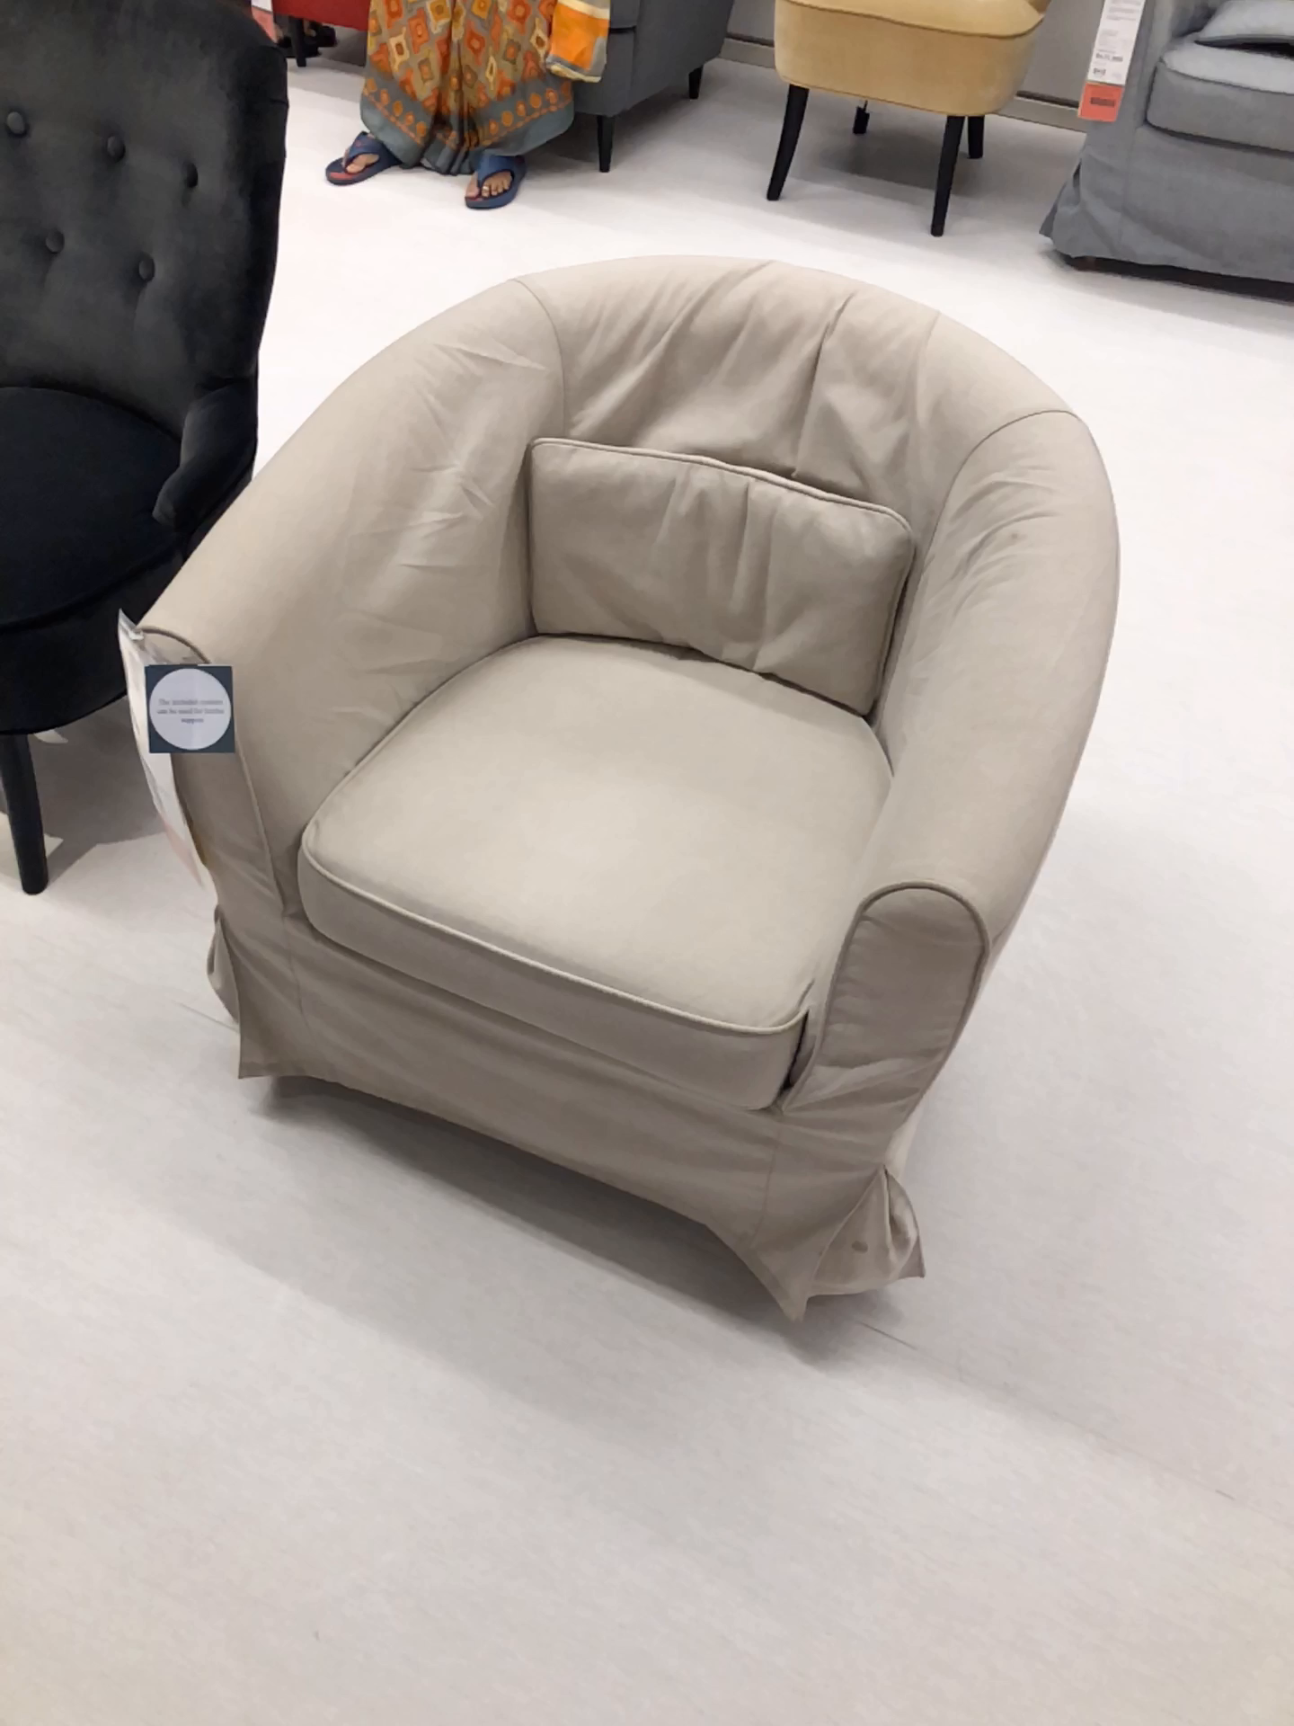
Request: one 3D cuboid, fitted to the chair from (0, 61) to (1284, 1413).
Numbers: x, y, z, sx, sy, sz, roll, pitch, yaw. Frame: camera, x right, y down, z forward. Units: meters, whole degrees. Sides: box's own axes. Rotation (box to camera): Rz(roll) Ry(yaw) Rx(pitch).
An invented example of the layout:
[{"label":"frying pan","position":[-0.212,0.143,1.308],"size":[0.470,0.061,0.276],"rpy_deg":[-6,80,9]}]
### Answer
[{"label":"chair","position":[-0.024,-0.138,1.339],"size":[0.861,0.805,0.704],"rpy_deg":[19,49,15]}]
